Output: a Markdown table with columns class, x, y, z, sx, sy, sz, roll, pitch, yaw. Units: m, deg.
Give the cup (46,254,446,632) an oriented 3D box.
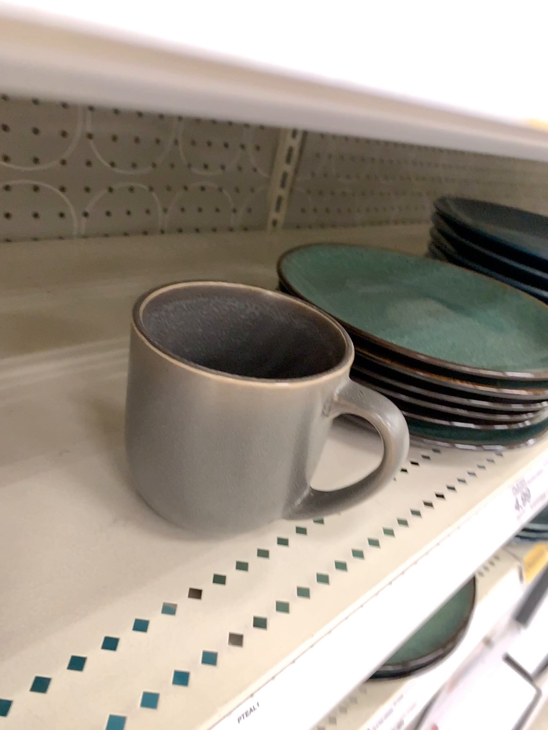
| class | x | y | z | sx | sy | sz | roll | pitch | yaw |
| --- | --- | --- | --- | --- | --- | --- | --- | --- | --- |
| cup | -0.010 | 0.020 | 0.248 | 0.130 | 0.080 | 0.100 | 23 | 29 | 15 |
